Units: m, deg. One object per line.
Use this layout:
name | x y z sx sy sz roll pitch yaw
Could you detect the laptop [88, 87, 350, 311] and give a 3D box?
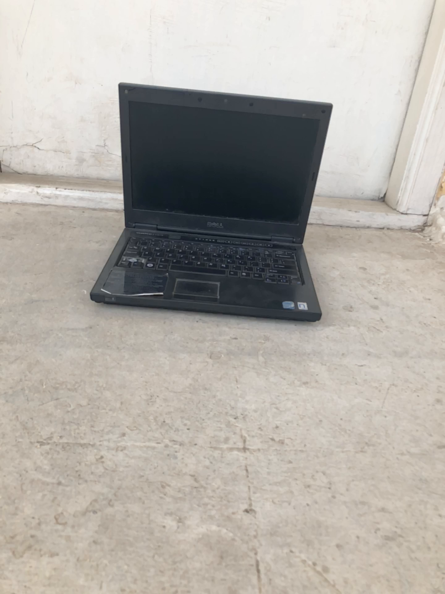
laptop | -0.010 -0.146 0.684 0.292 0.218 0.215 5 31 -1
